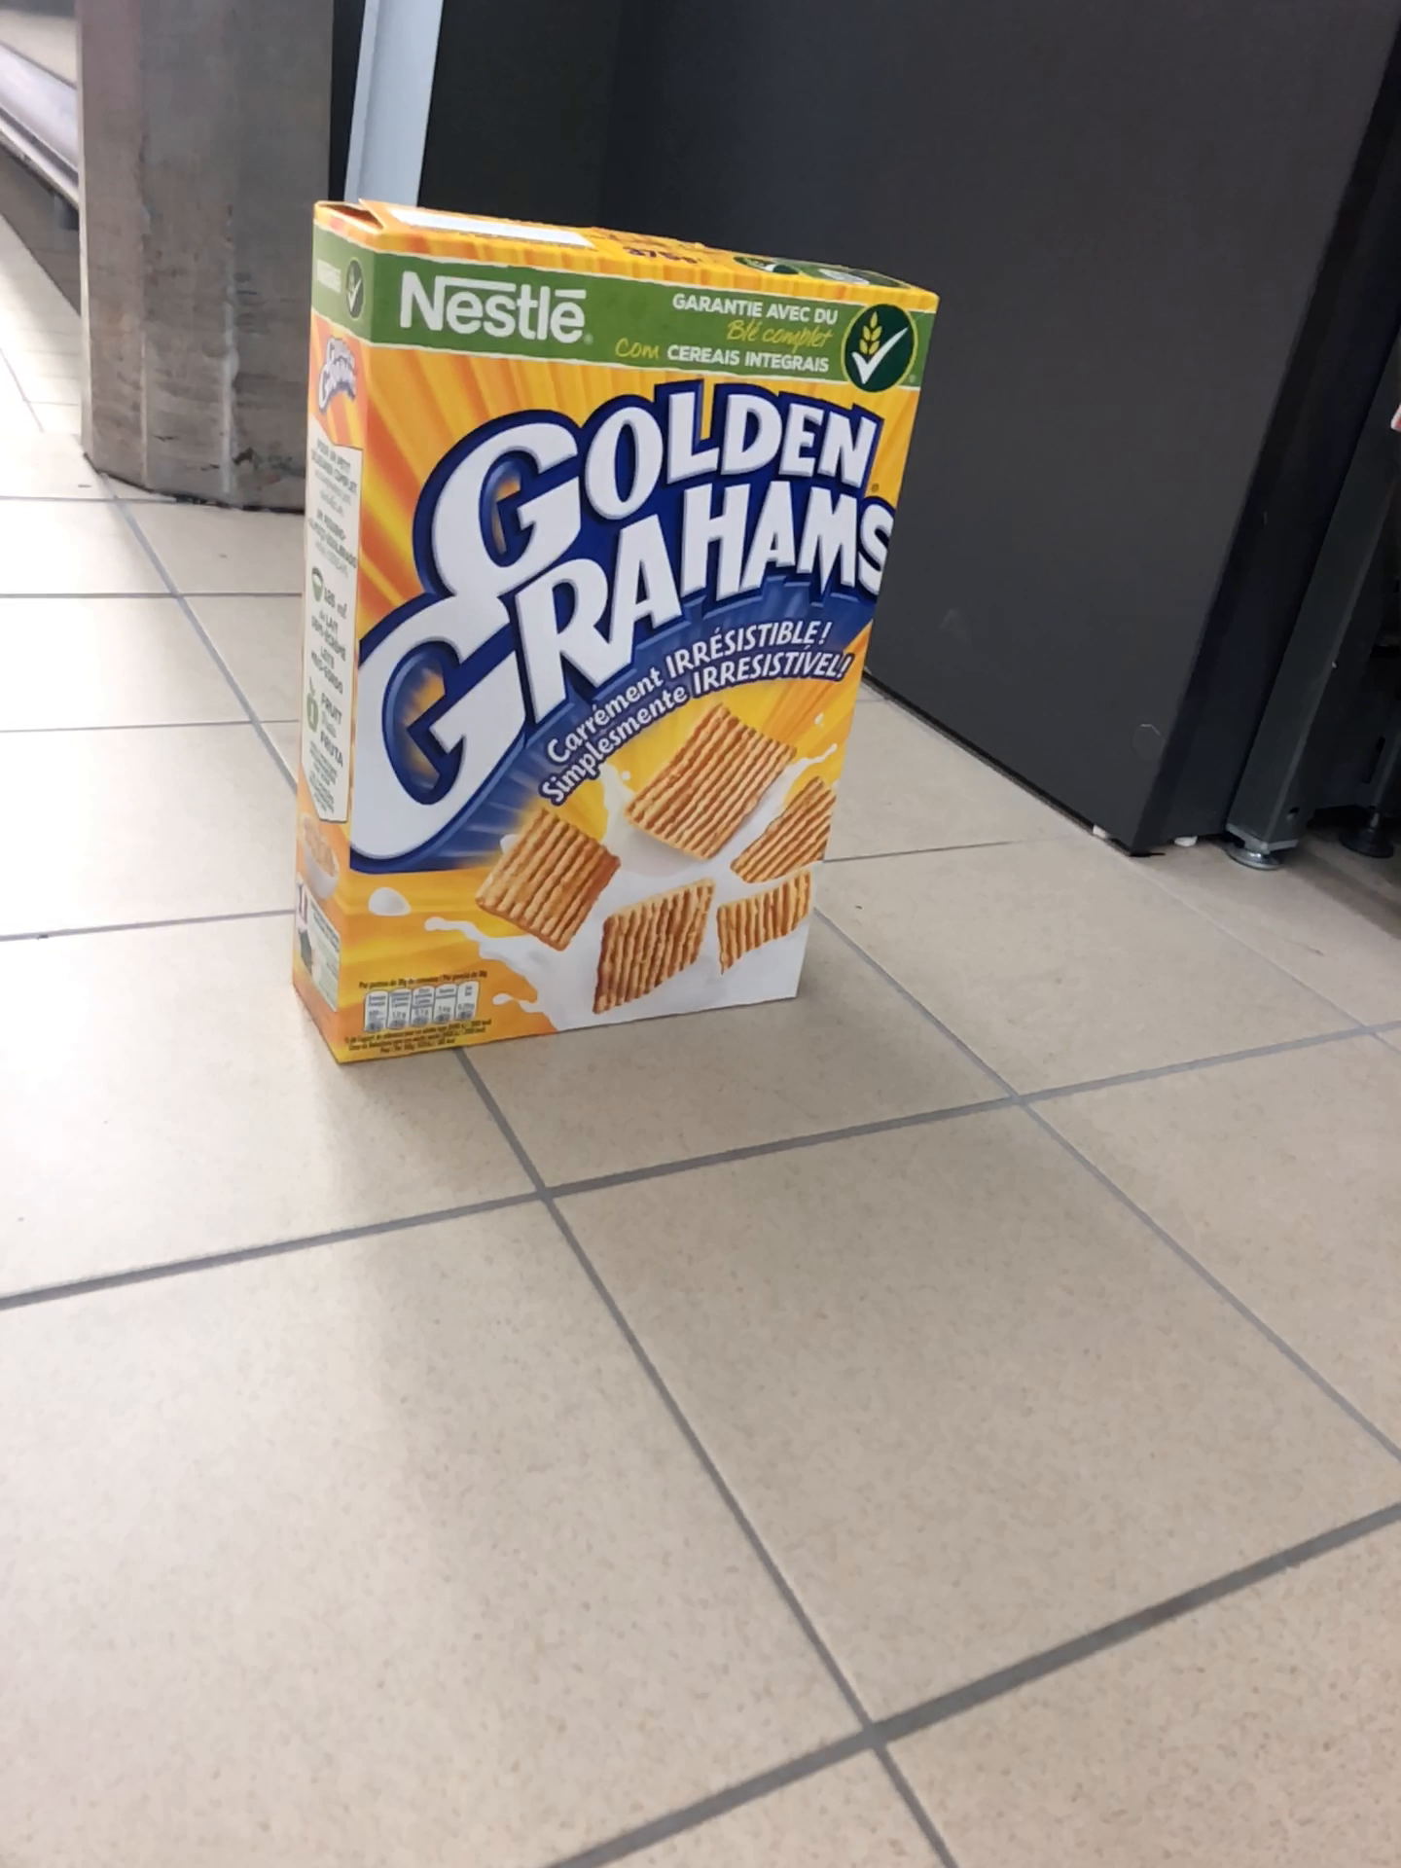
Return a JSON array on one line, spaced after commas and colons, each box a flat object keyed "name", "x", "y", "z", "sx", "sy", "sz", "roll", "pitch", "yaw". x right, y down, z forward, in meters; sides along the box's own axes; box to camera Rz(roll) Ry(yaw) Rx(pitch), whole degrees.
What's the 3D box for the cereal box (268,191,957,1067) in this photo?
[{"name": "cereal box", "x": -0.041, "y": -0.098, "z": 0.541, "sx": 0.201, "sy": 0.268, "sz": 0.070, "roll": -7, "pitch": 33, "yaw": -29}]
